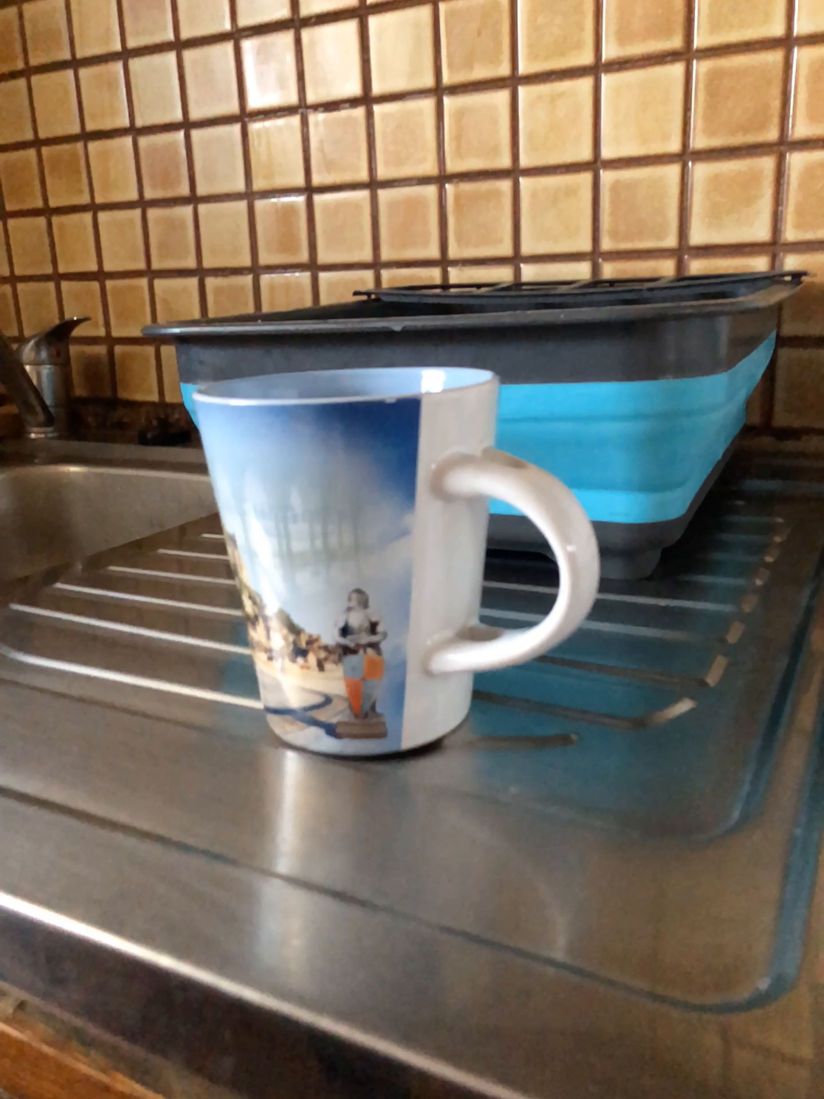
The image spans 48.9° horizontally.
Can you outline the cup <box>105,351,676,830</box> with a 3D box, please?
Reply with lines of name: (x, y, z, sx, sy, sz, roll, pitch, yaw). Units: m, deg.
cup: (-0.004, -0.004, 0.273, 0.130, 0.100, 0.101, 9, 20, 34)
